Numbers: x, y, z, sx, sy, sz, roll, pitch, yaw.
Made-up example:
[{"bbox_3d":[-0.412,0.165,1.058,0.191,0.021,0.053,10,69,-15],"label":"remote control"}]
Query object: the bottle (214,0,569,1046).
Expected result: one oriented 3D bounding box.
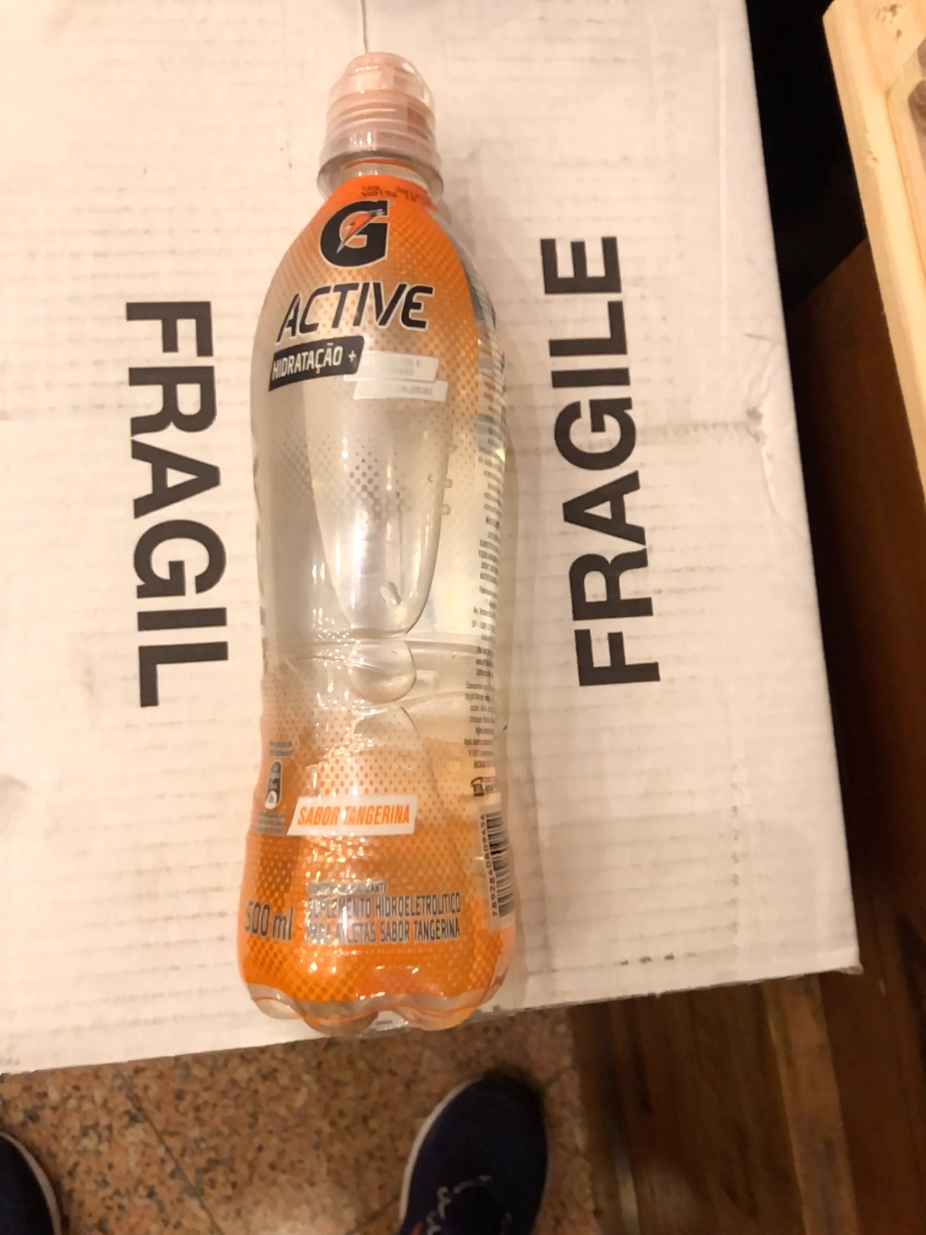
[{"bbox_3d":[-0.017,-0.037,0.250,0.070,0.060,0.250,1,83,-6],"label":"bottle"}]
